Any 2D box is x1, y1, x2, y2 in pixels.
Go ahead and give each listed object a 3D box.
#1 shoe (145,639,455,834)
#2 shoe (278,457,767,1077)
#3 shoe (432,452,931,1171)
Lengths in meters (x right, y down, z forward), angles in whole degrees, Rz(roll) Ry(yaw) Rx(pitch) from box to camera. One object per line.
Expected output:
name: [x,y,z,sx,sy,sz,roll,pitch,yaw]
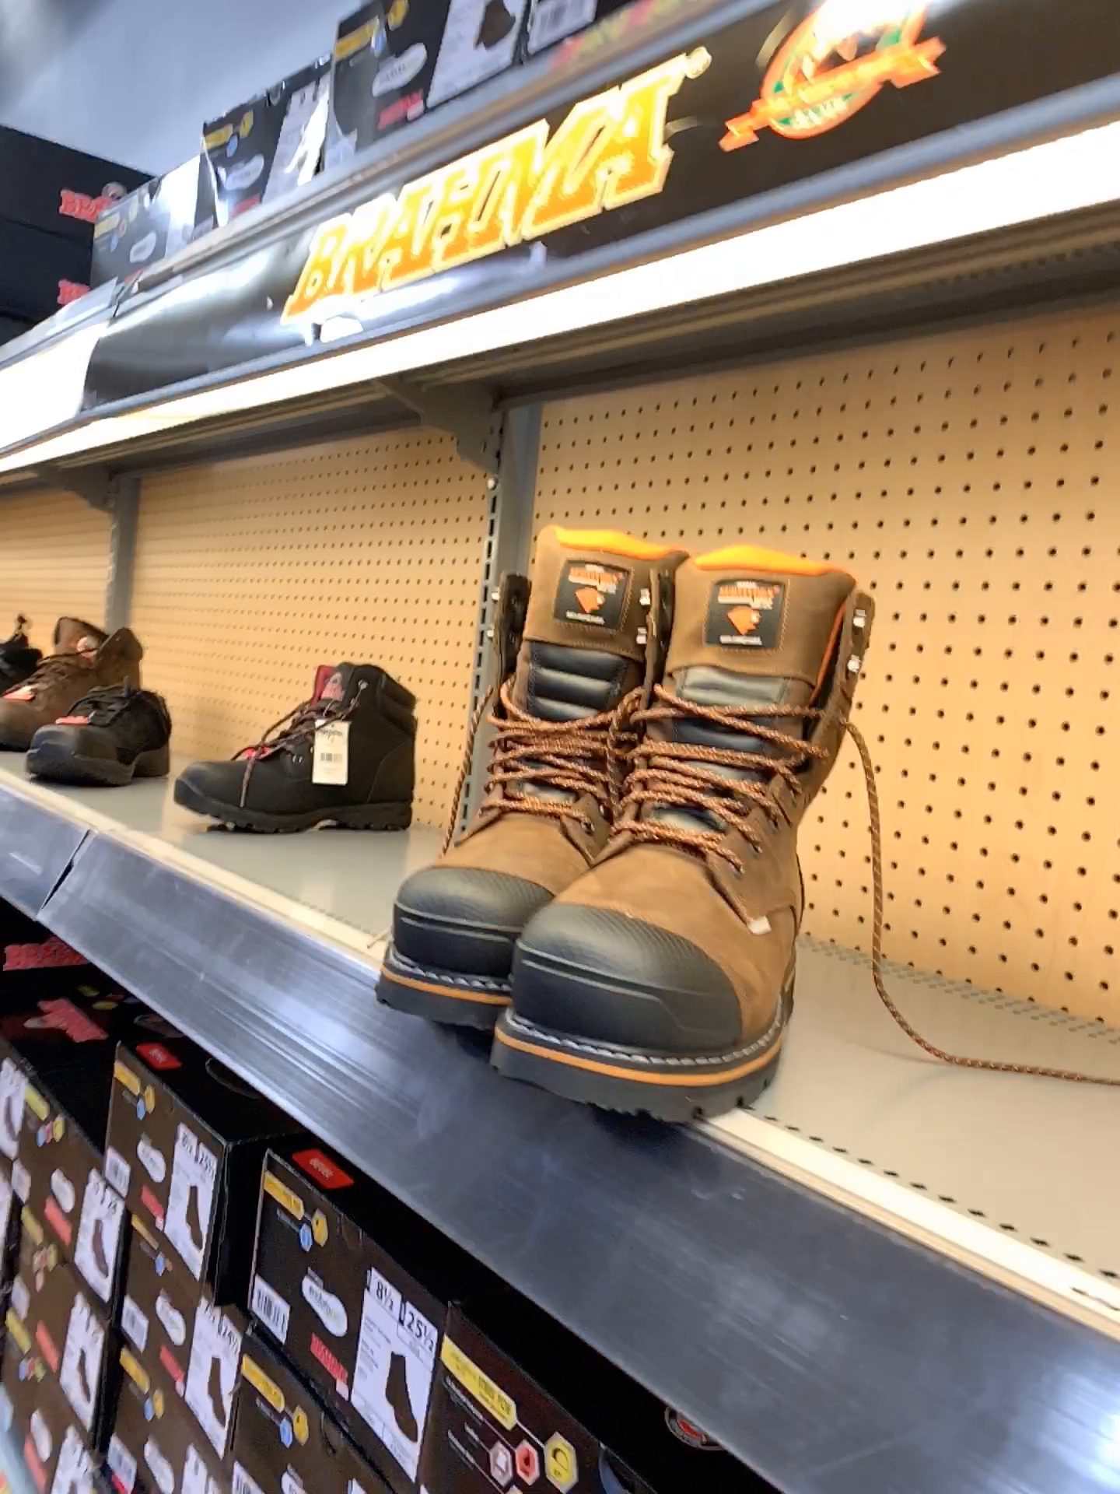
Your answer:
shoe: [-0.263,-0.011,1.174,0.258,0.170,0.146,2,5,-39]
shoe: [-0.001,0.000,0.689,0.136,0.280,0.313,7,4,26]
shoe: [0.086,0.014,0.587,0.134,0.260,0.318,7,4,24]
